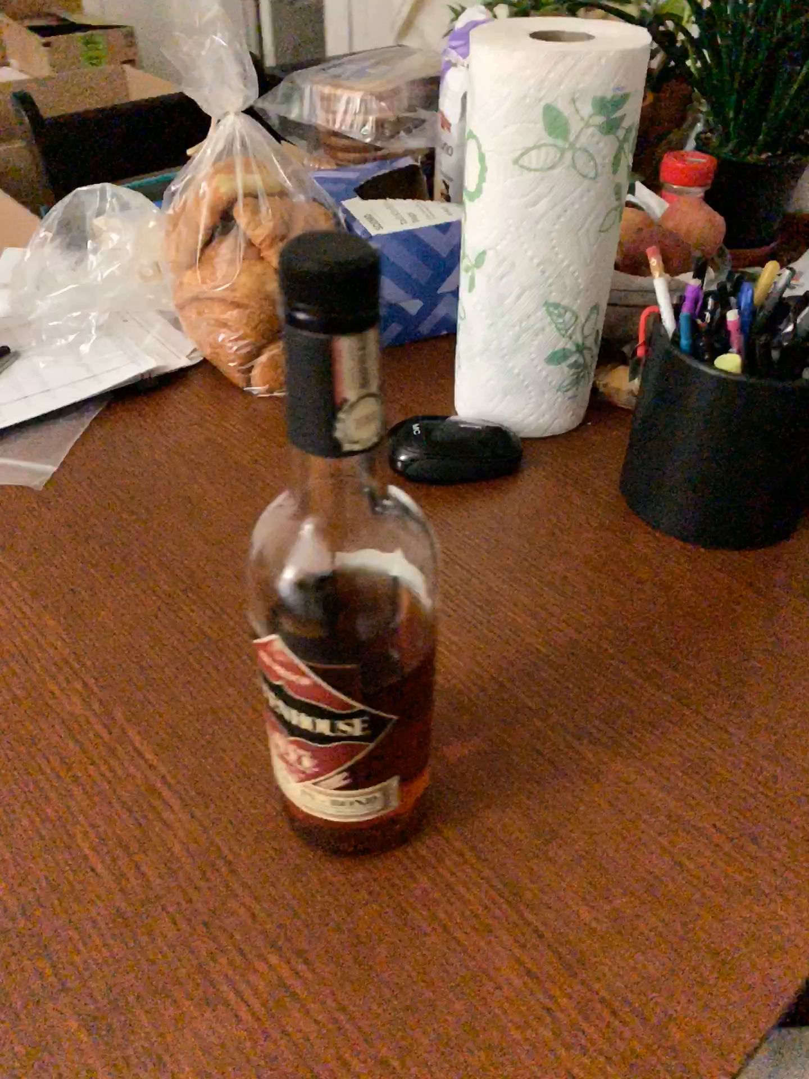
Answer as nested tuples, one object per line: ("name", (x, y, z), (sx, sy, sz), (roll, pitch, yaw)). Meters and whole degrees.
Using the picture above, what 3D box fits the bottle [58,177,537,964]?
("bottle", (-0.028, 0.033, 0.315), (0.090, 0.288, 0.090), (0, 40, 0))
